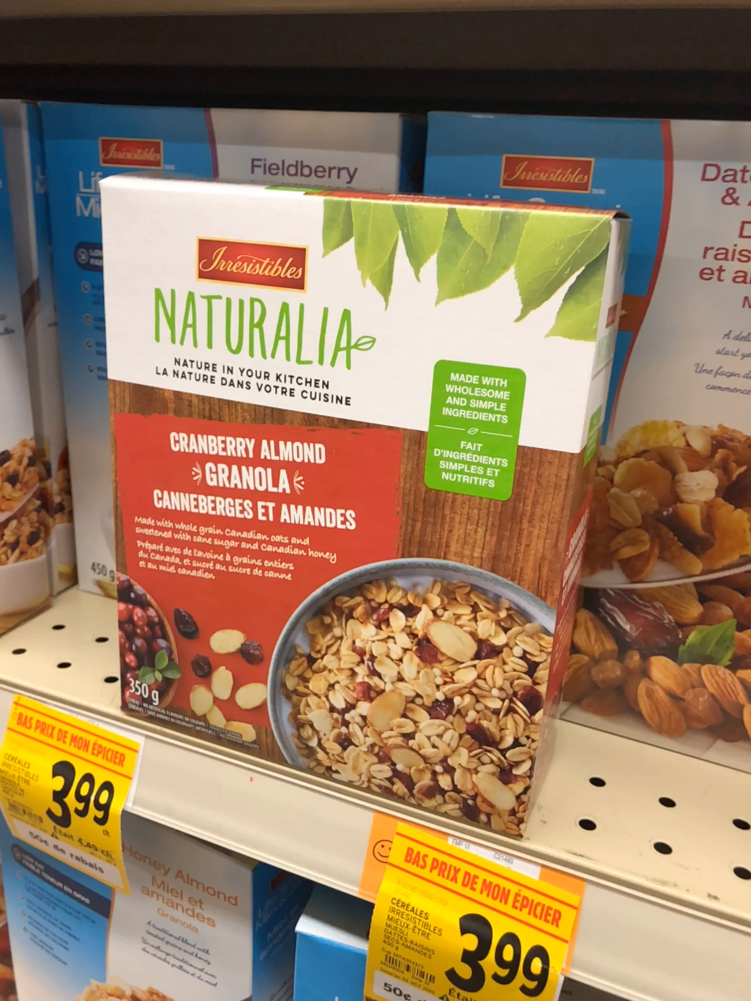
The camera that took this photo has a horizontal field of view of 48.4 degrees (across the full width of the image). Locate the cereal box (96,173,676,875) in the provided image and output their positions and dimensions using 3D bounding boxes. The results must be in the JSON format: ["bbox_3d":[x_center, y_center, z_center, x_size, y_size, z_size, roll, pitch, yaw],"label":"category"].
[{"bbox_3d":[-0.003,0.001,0.295,0.170,0.209,0.060,11,22,20],"label":"cereal box"}]
